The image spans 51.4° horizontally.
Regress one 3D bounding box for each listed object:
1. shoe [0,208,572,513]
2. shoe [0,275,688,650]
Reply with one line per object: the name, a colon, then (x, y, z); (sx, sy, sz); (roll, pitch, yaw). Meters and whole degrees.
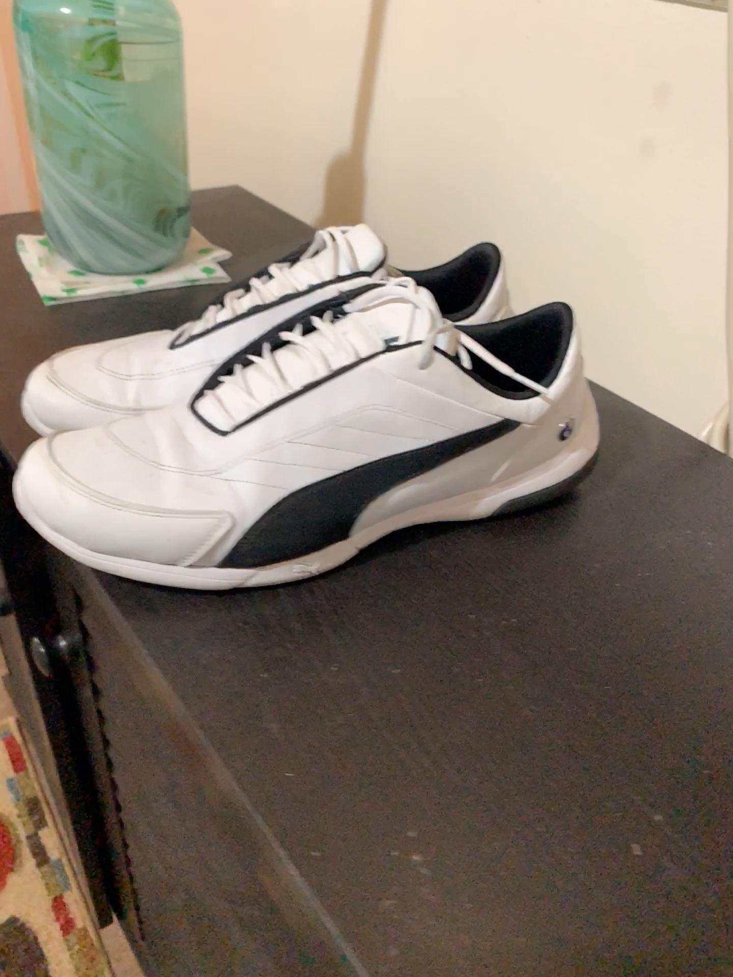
shoe: (-0.045, -0.084, 0.432); (0.280, 0.089, 0.121); (-11, 39, -16)
shoe: (-0.012, -0.024, 0.362); (0.290, 0.089, 0.101); (-11, 39, -16)
